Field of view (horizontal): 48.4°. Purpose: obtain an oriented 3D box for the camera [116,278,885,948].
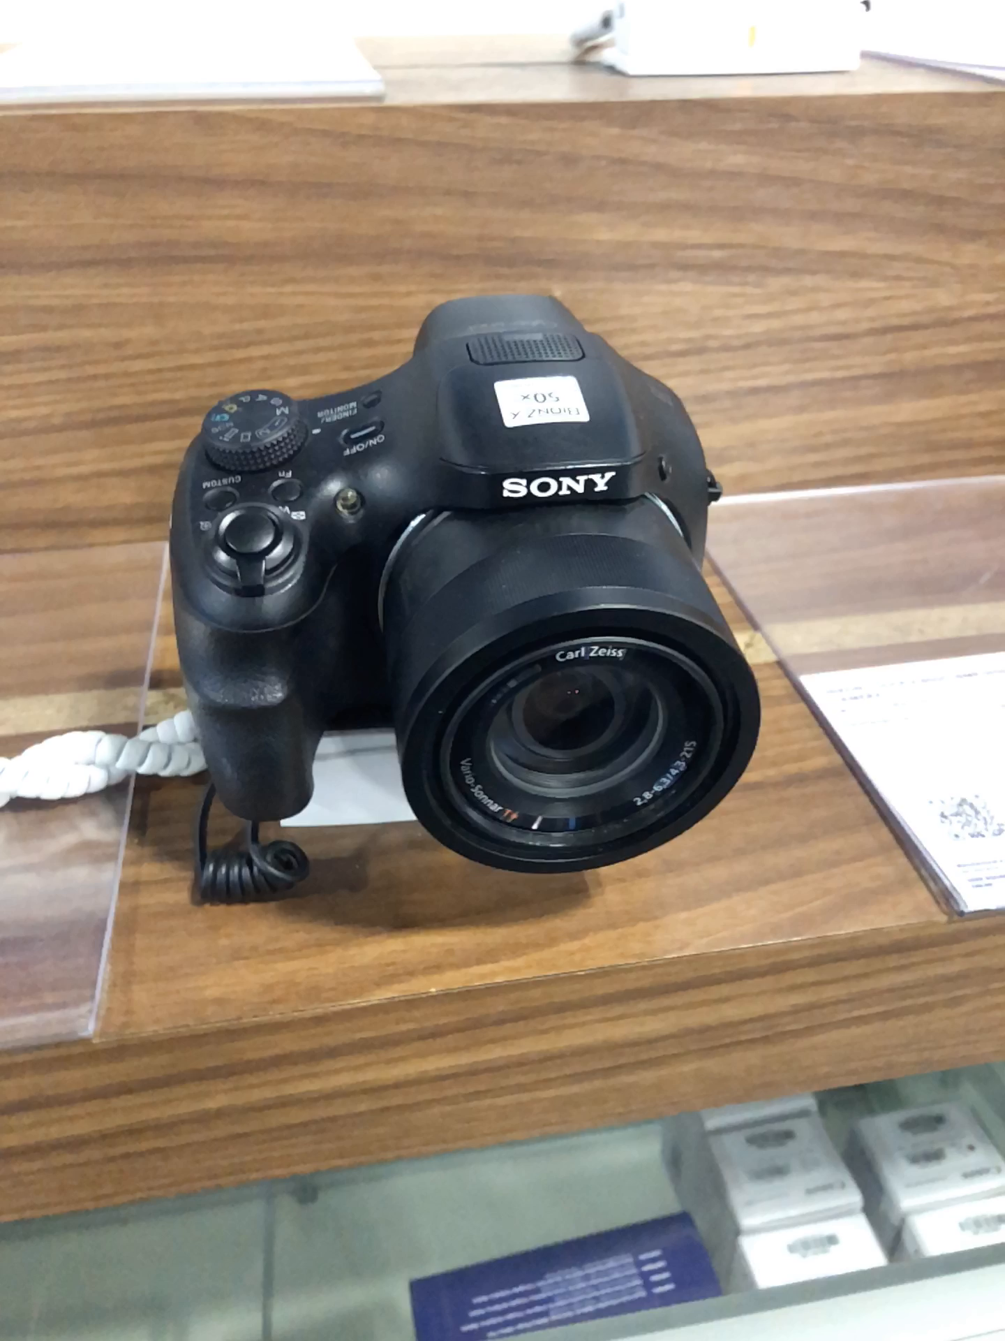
[{"bbox_3d":[-0.009,-0.021,0.260,0.130,0.089,0.121,-6,40,-9],"label":"camera"}]
